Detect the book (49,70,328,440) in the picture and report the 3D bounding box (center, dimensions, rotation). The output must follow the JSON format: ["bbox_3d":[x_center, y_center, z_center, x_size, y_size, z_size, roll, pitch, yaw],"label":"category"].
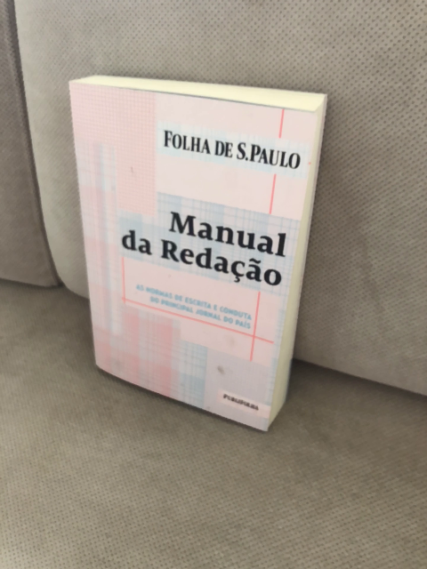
[{"bbox_3d":[-0.024,-0.018,0.336,0.166,0.228,0.040,16,31,23],"label":"book"}]
